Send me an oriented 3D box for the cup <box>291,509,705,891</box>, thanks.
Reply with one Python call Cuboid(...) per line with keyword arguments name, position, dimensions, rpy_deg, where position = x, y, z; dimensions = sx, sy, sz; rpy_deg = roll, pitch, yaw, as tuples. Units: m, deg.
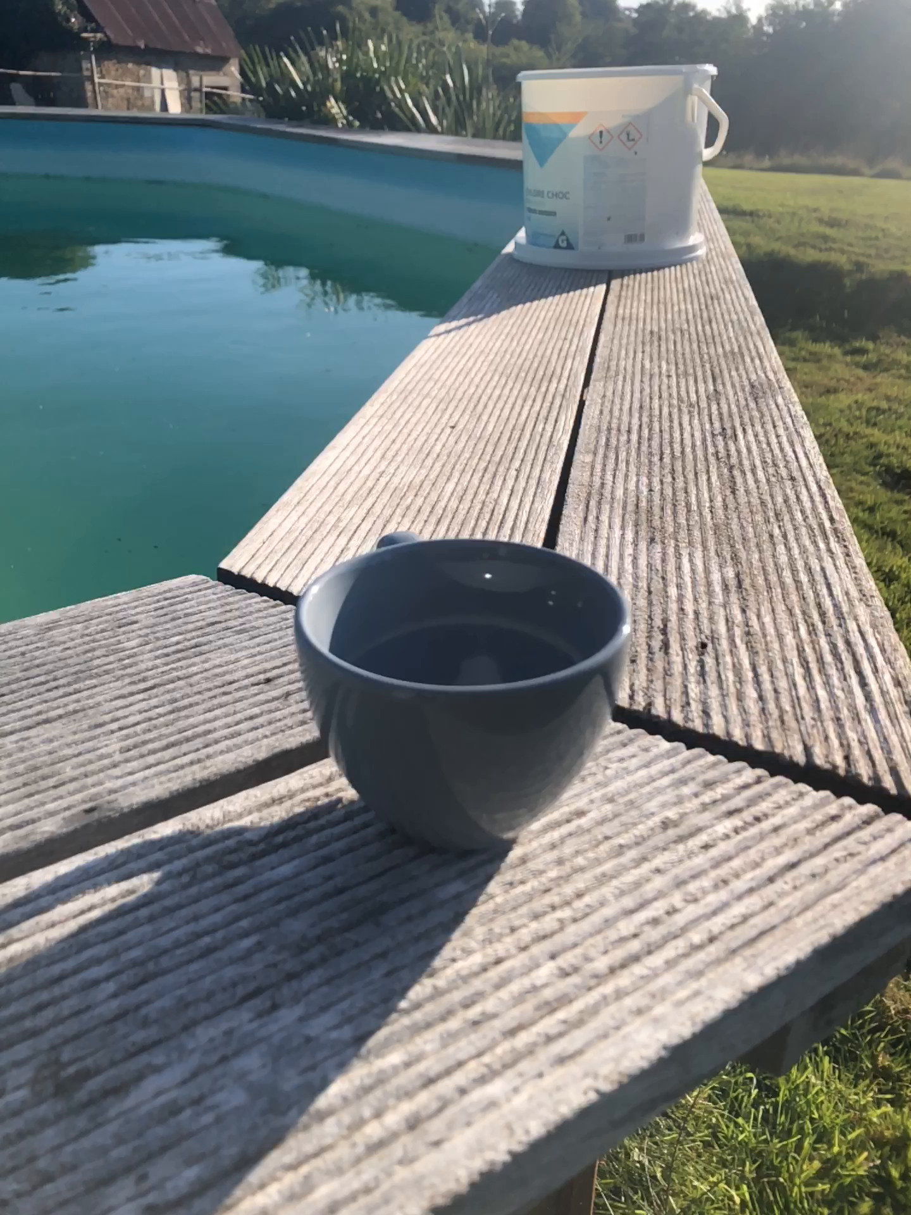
Cuboid(name="cup", position=(0.004, 0.018, 0.276), dimensions=(0.091, 0.052, 0.106), rpy_deg=(-2, 28, -6))
